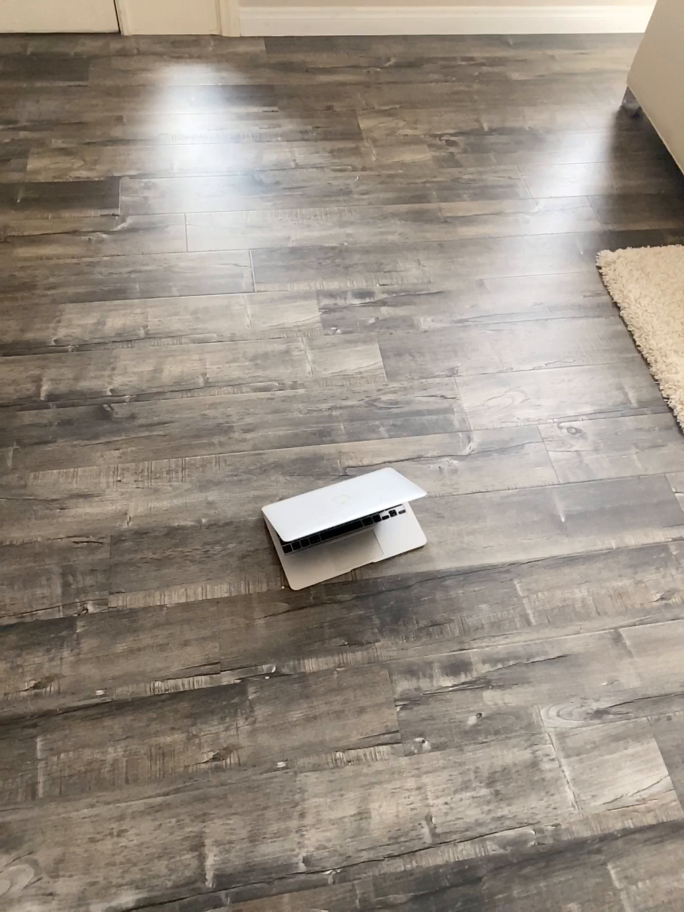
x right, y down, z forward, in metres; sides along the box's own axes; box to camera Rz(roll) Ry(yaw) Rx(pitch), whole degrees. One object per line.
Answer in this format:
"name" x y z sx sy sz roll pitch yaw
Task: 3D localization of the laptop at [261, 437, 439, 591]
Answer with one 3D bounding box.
"laptop" 0.010 0.100 1.259 0.270 0.113 0.173 -16 58 -17
